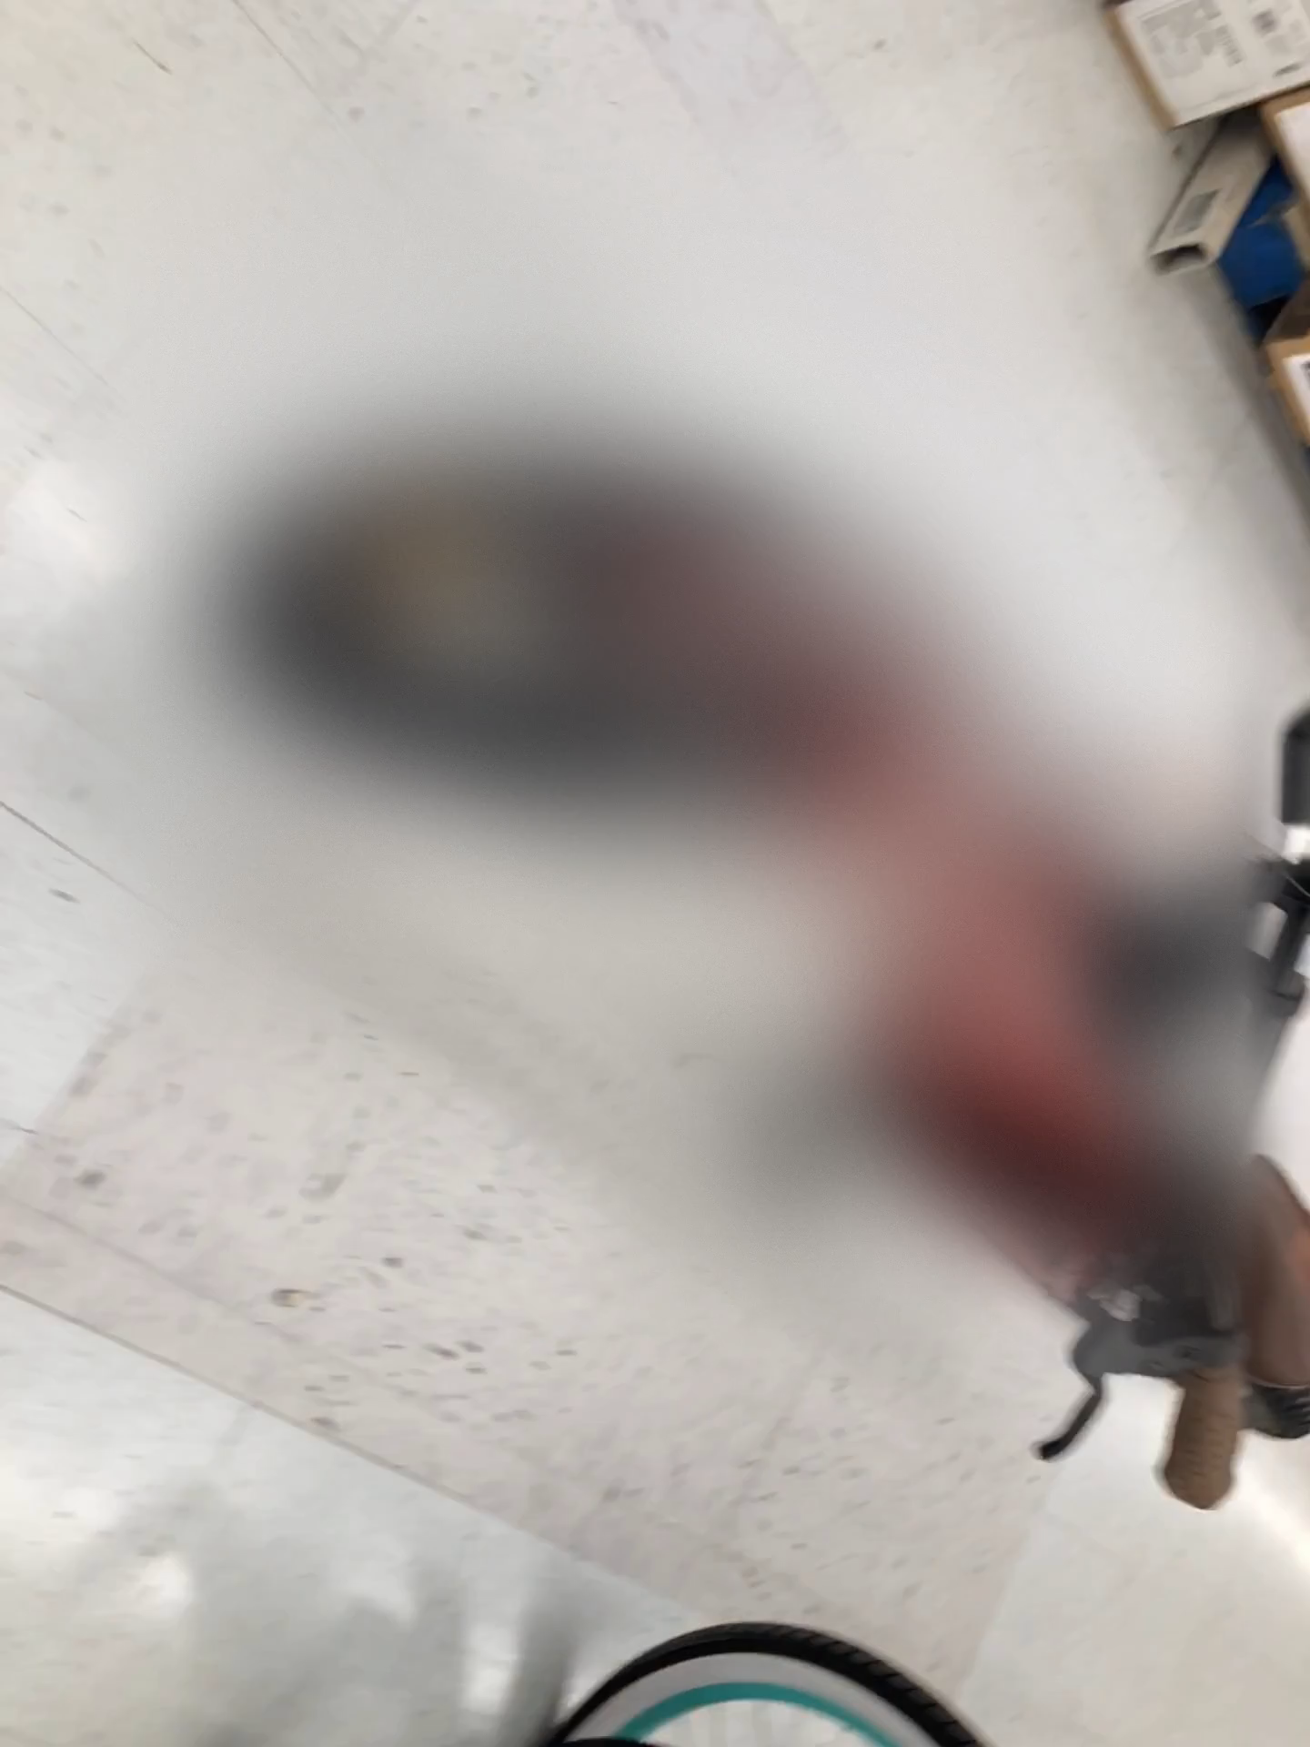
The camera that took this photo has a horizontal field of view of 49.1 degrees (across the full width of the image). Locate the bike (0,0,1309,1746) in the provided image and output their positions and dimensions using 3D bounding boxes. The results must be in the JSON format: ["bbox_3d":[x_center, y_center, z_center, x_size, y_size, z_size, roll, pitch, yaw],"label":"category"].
[{"bbox_3d":[0.283,0.193,1.203,1.361,0.968,0.608,41,72,-31],"label":"bike"}]
